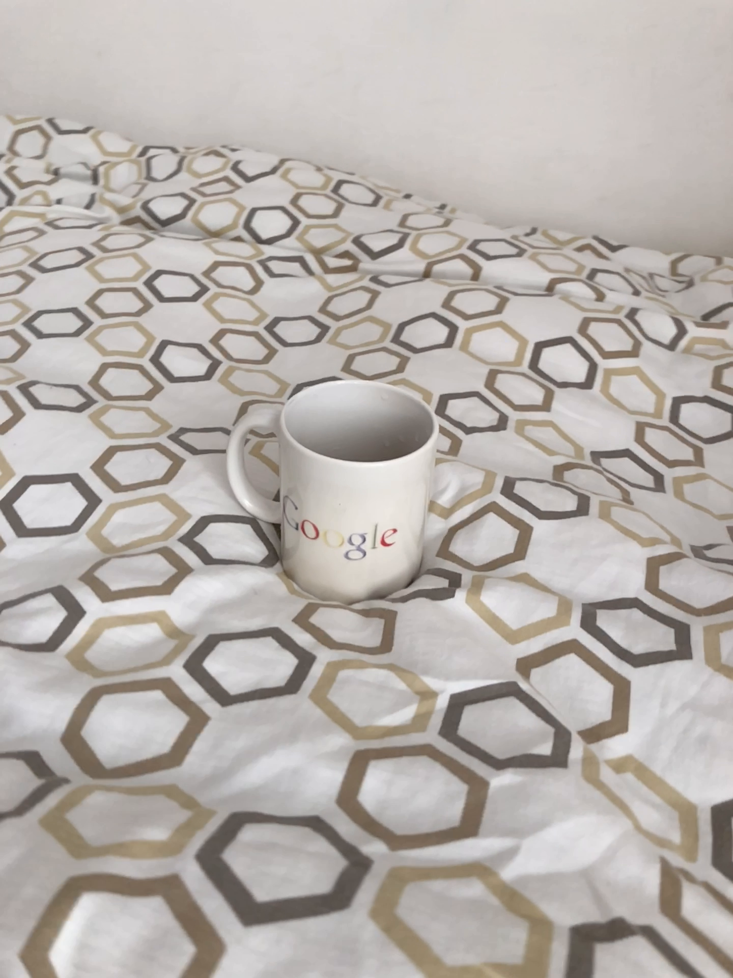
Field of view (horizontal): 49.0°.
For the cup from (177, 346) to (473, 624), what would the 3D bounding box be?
[{"bbox_3d":[-0.021,-0.007,0.438,0.126,0.087,0.087,18,38,20],"label":"cup"}]
